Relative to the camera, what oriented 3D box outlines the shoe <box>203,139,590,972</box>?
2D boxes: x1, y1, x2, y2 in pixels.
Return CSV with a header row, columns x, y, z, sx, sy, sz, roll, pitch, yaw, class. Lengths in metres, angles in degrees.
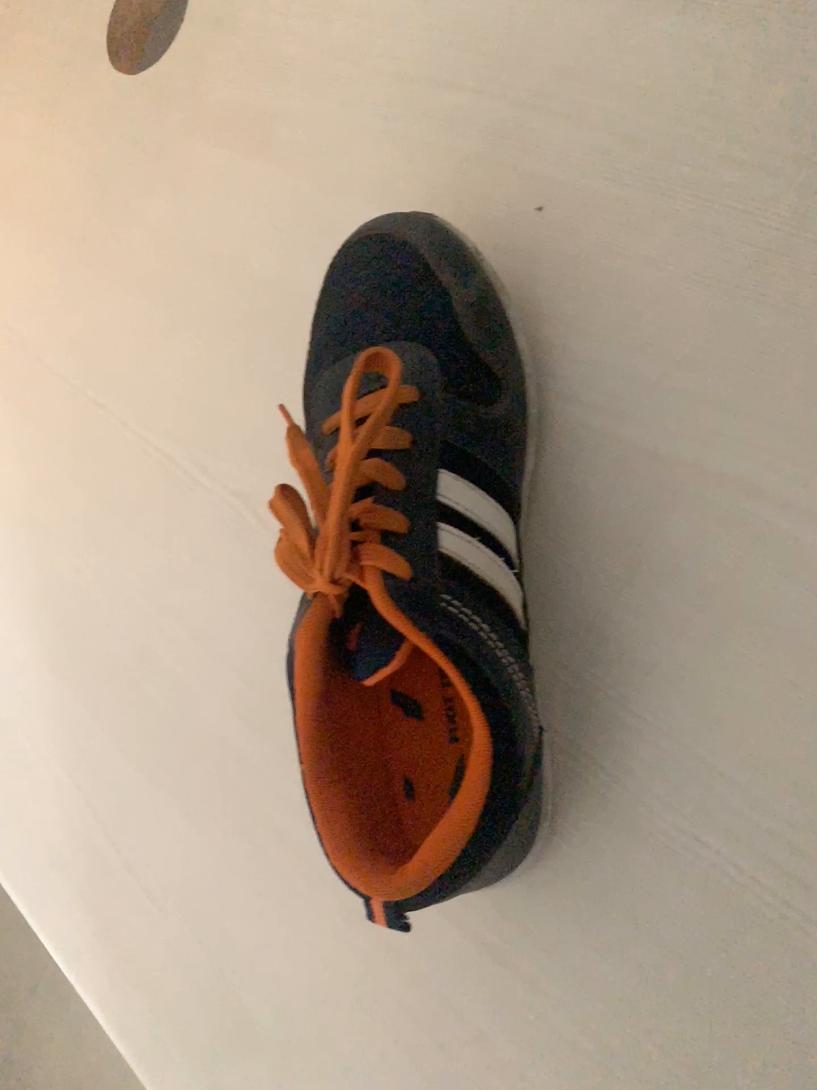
x,y,z,sx,sy,sz,roll,pitch,yaw,class
-0.008,0.004,0.309,0.100,0.080,0.250,-10,78,32,shoe
